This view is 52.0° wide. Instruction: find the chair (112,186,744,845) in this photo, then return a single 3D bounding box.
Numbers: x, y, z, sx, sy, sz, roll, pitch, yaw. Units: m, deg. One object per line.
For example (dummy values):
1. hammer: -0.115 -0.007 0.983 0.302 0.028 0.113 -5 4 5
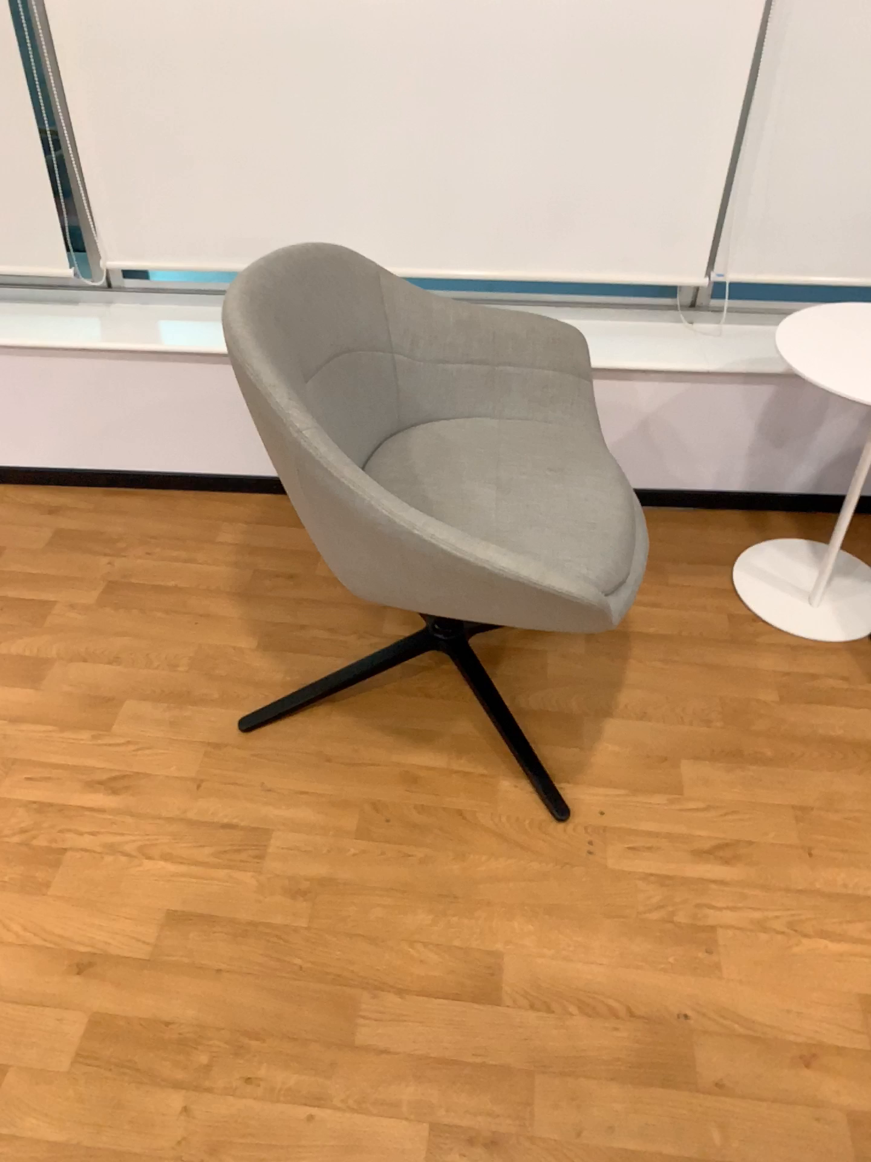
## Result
1. chair: 0.015 -0.120 1.451 0.680 0.754 0.676 6 41 5
